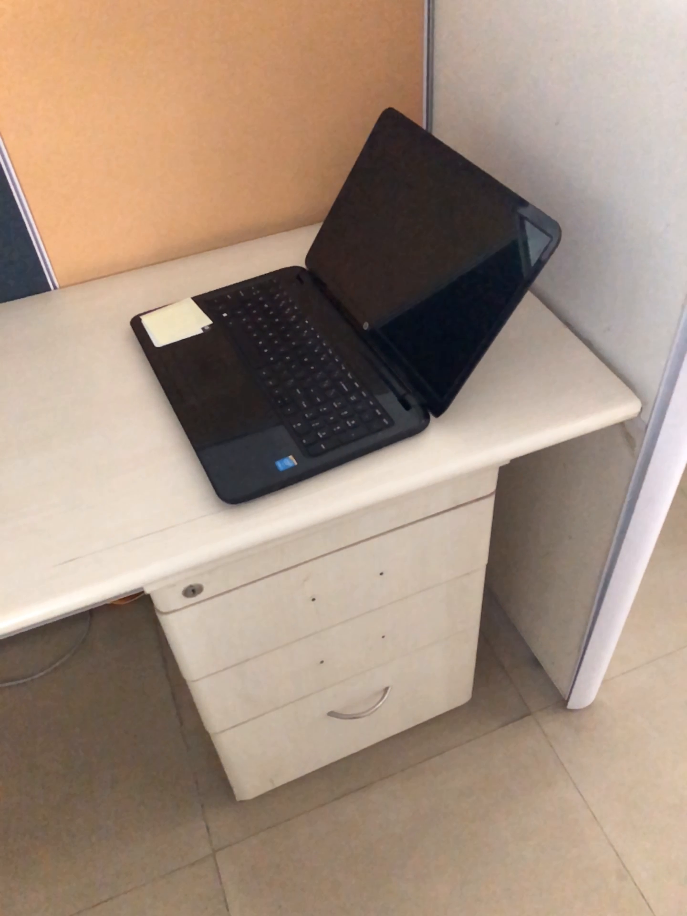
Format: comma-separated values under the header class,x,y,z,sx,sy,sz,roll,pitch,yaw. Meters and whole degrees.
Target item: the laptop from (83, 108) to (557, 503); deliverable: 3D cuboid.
class,x,y,z,sx,sy,sz,roll,pitch,yaw
laptop,-0.042,-0.218,0.930,0.417,0.204,0.393,-21,48,-16
